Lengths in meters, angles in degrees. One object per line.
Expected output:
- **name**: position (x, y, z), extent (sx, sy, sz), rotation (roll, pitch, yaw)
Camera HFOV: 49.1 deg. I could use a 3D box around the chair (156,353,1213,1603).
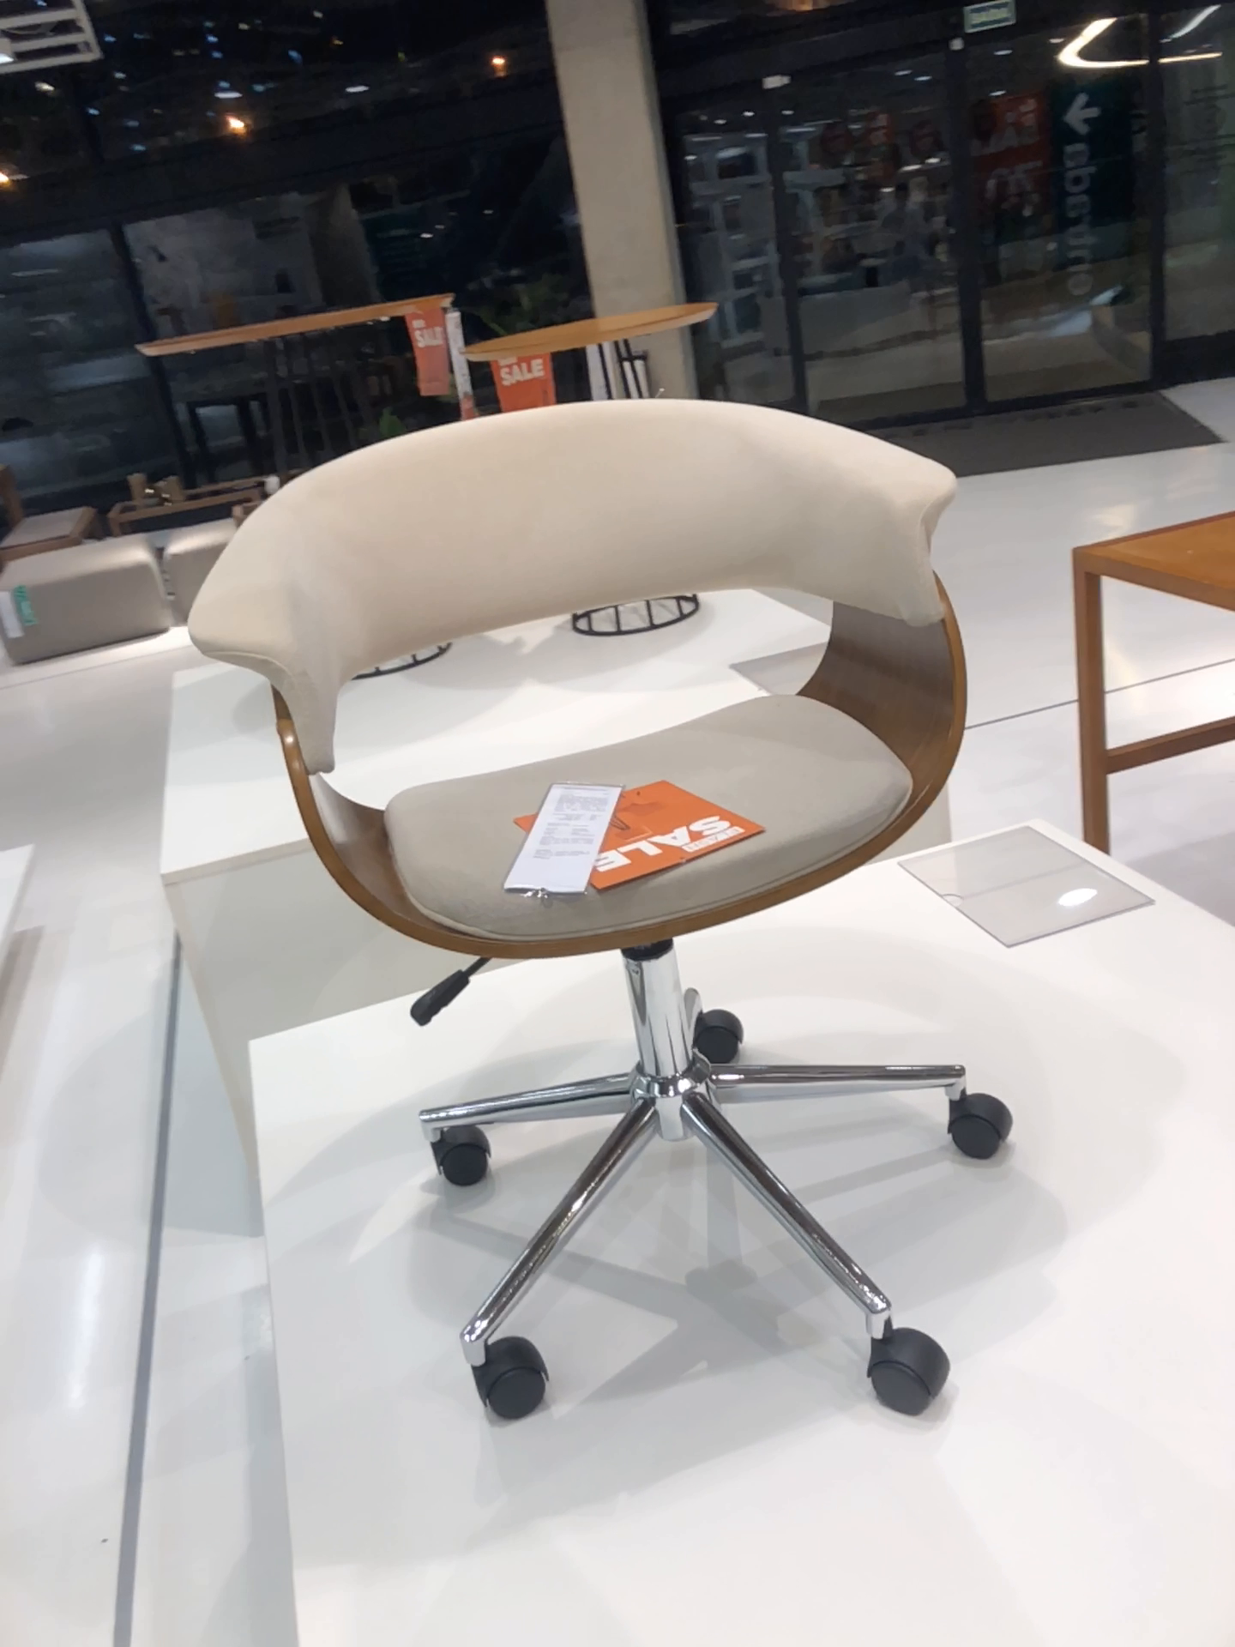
- **chair**: position (0.022, 0.023, 1.188), extent (0.630, 0.725, 0.674), rotation (-15, 22, -13)
